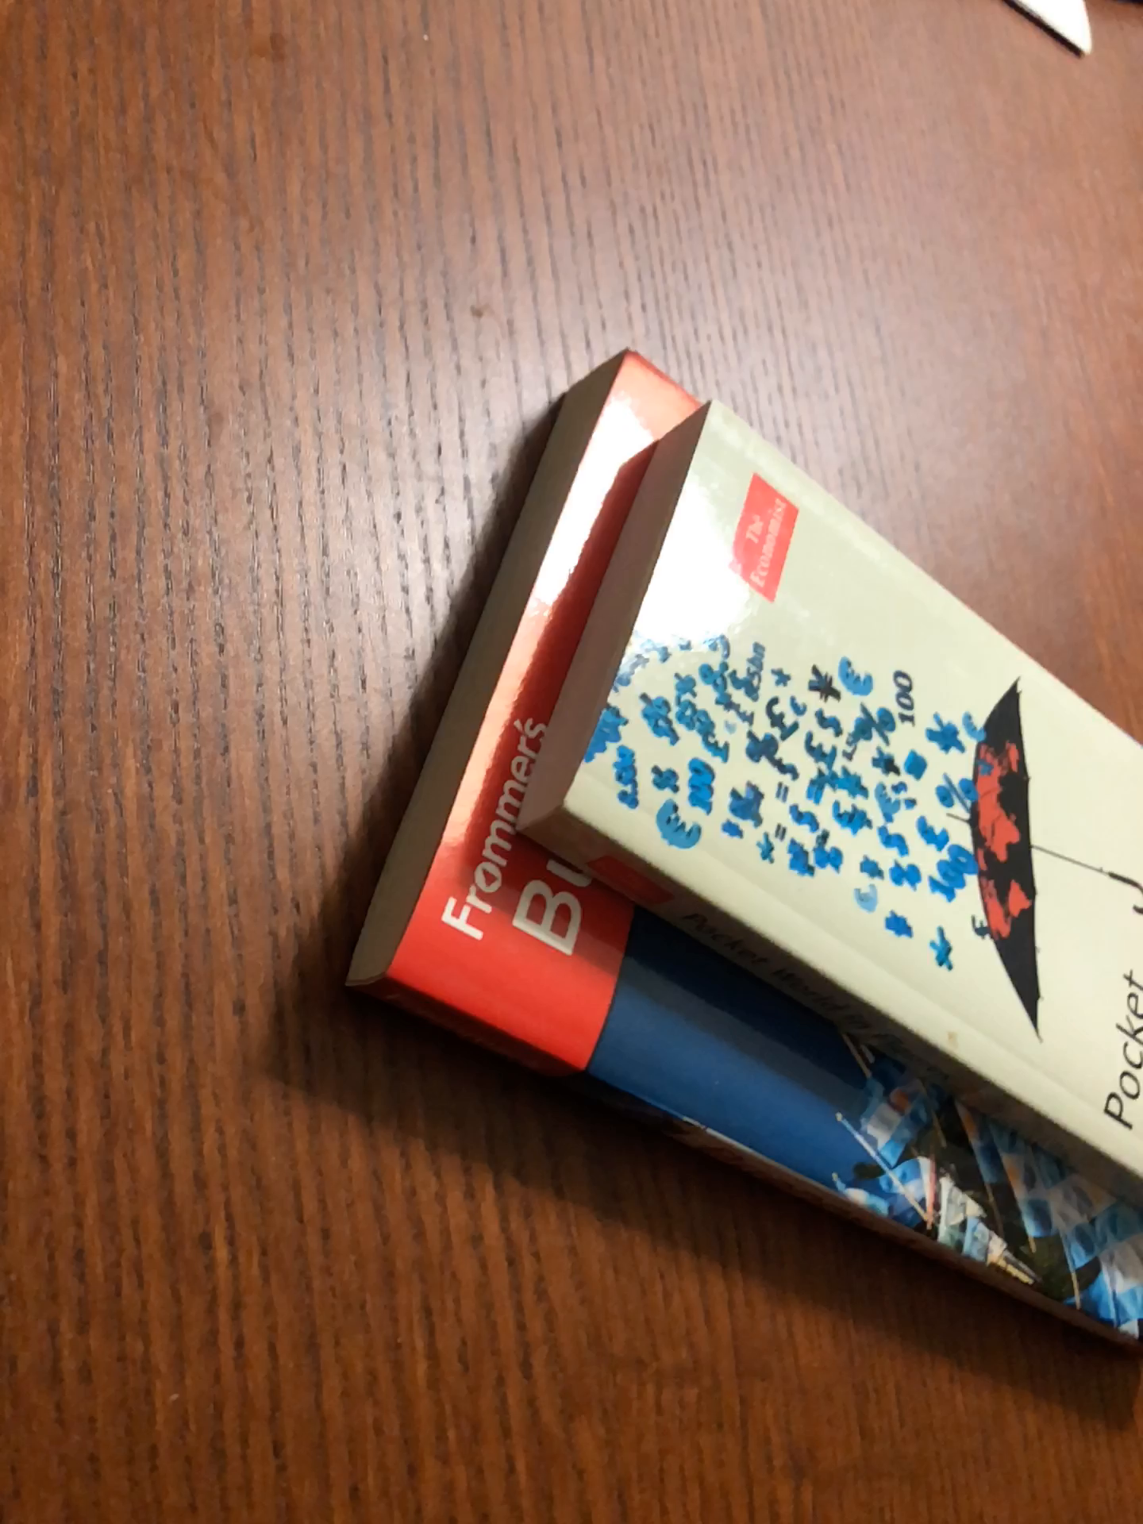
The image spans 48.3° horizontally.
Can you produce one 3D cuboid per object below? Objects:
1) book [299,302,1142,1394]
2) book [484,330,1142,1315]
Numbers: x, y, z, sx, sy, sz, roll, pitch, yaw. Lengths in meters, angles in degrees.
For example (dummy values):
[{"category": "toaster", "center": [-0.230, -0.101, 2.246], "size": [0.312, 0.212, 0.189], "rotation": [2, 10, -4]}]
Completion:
[{"category": "book", "center": [0.066, 0.023, 0.260], "size": [0.210, 0.020, 0.140], "rotation": [31, 59, -23]}, {"category": "book", "center": [0.086, 0.019, 0.244], "size": [0.200, 0.020, 0.100], "rotation": [33, 58, -21]}]
